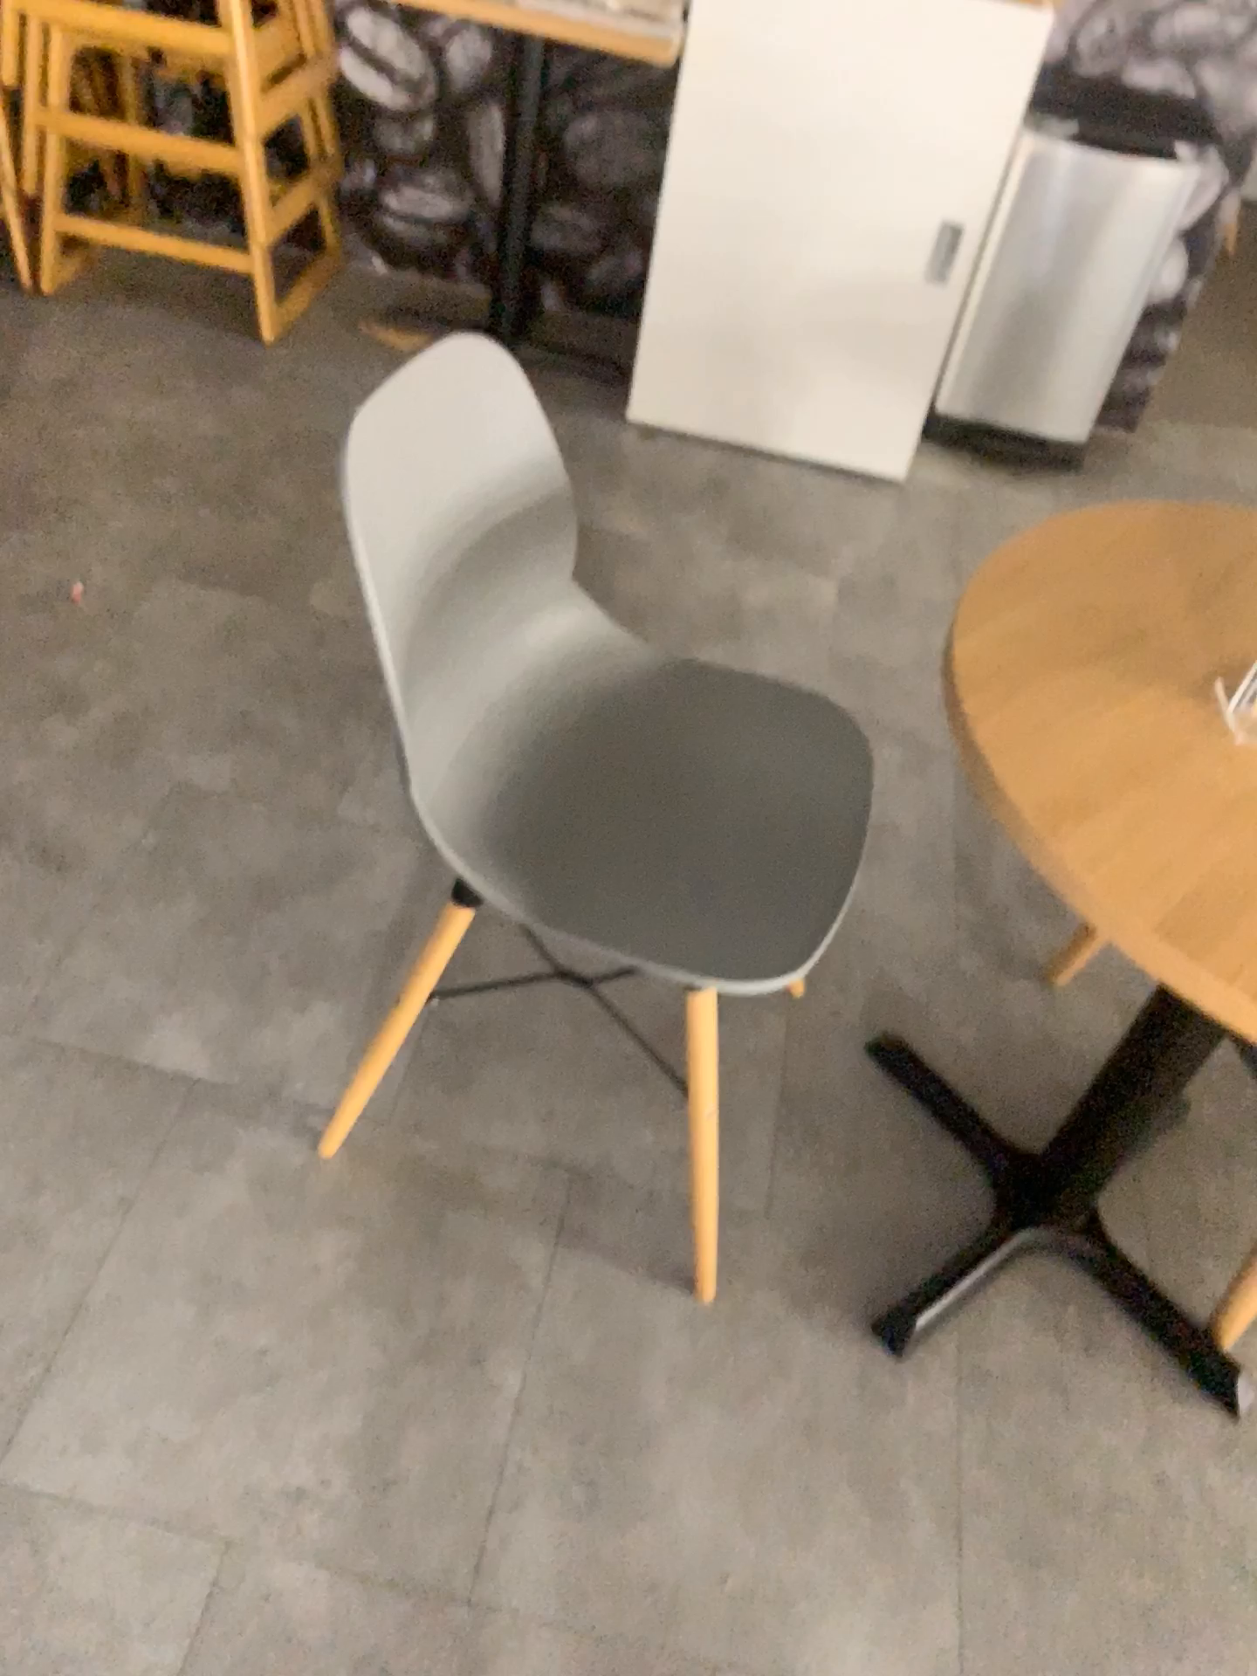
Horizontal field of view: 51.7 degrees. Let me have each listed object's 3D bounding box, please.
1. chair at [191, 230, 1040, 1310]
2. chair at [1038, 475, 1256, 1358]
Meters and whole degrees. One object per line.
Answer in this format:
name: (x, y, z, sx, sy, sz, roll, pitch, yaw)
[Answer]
chair: (-0.020, -0.042, 1.277, 0.520, 0.803, 0.509, 19, 44, 8)
chair: (0.895, 0.116, 1.390, 0.510, 0.753, 0.560, 3, 44, -9)
